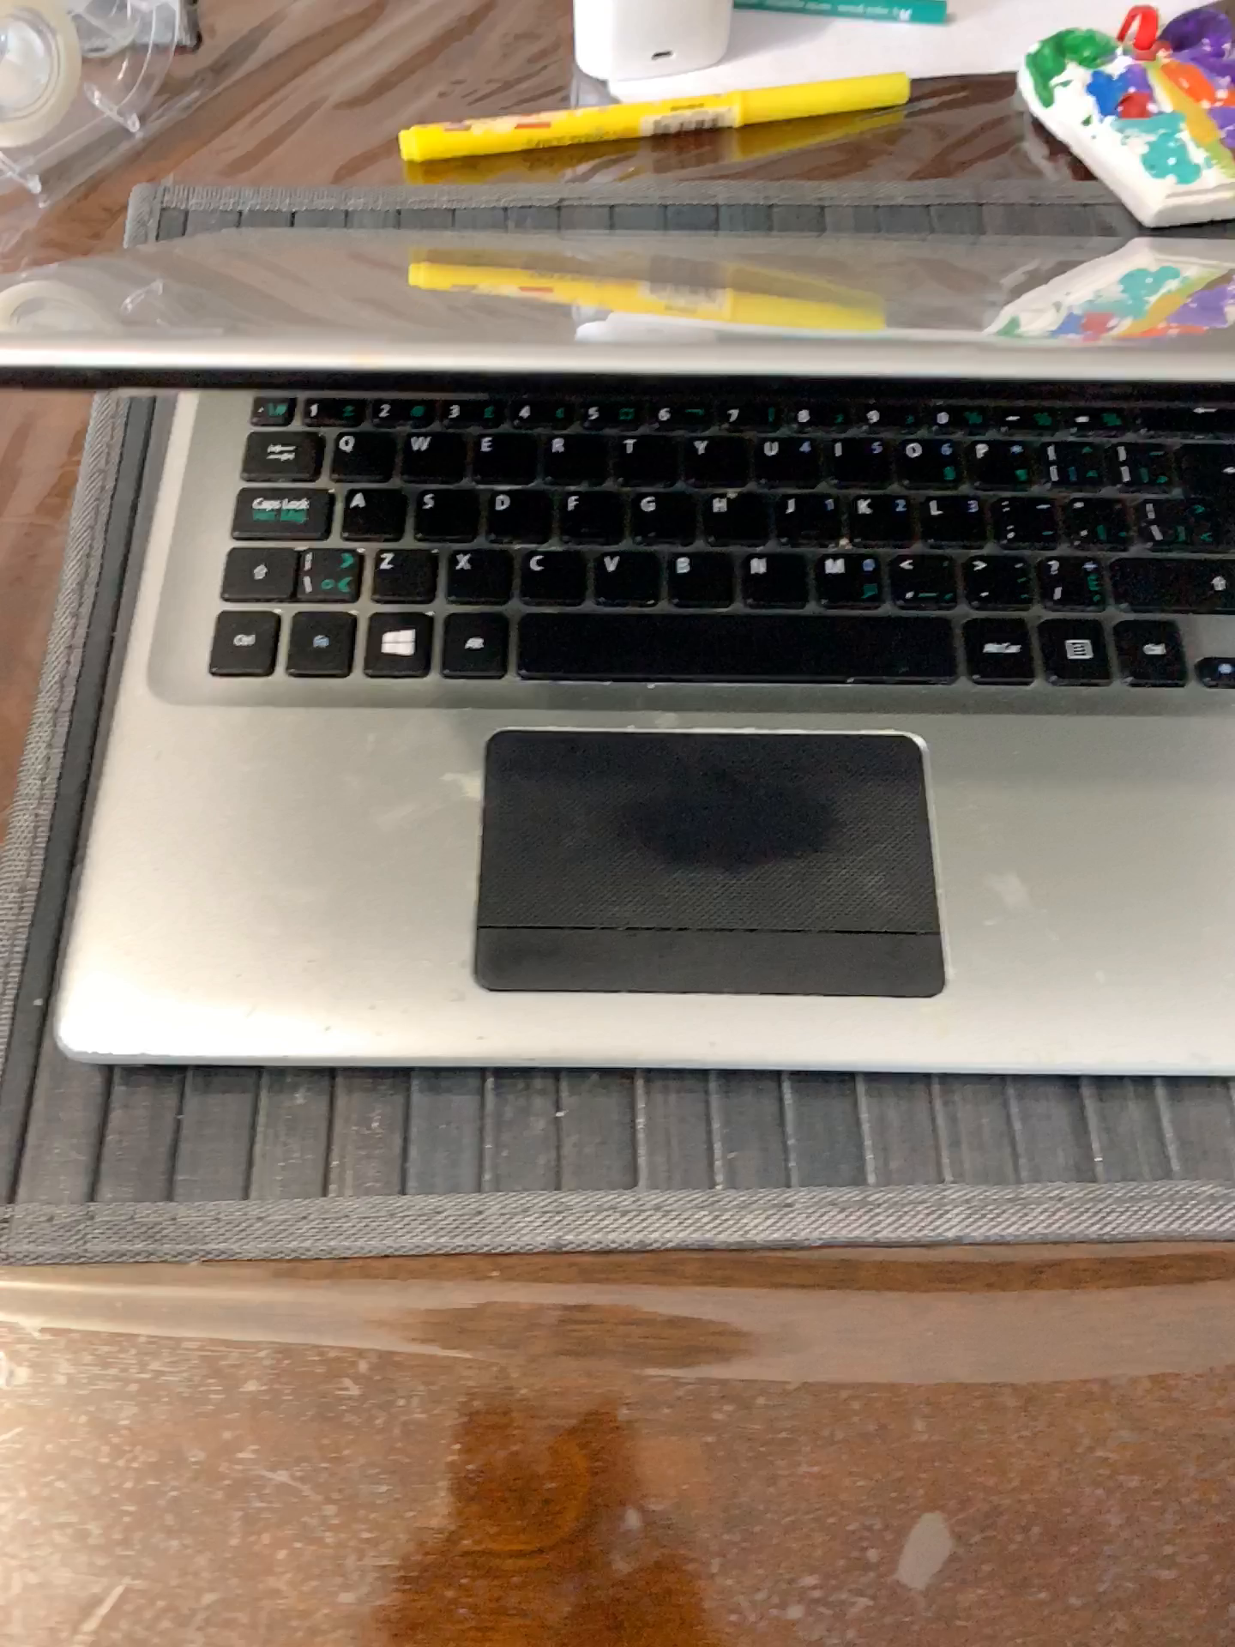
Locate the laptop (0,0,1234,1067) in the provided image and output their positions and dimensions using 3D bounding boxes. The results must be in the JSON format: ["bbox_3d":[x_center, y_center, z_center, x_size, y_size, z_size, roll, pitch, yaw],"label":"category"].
[{"bbox_3d":[0.049,-0.080,0.261,0.343,0.141,0.225,1,66,0],"label":"laptop"}]
